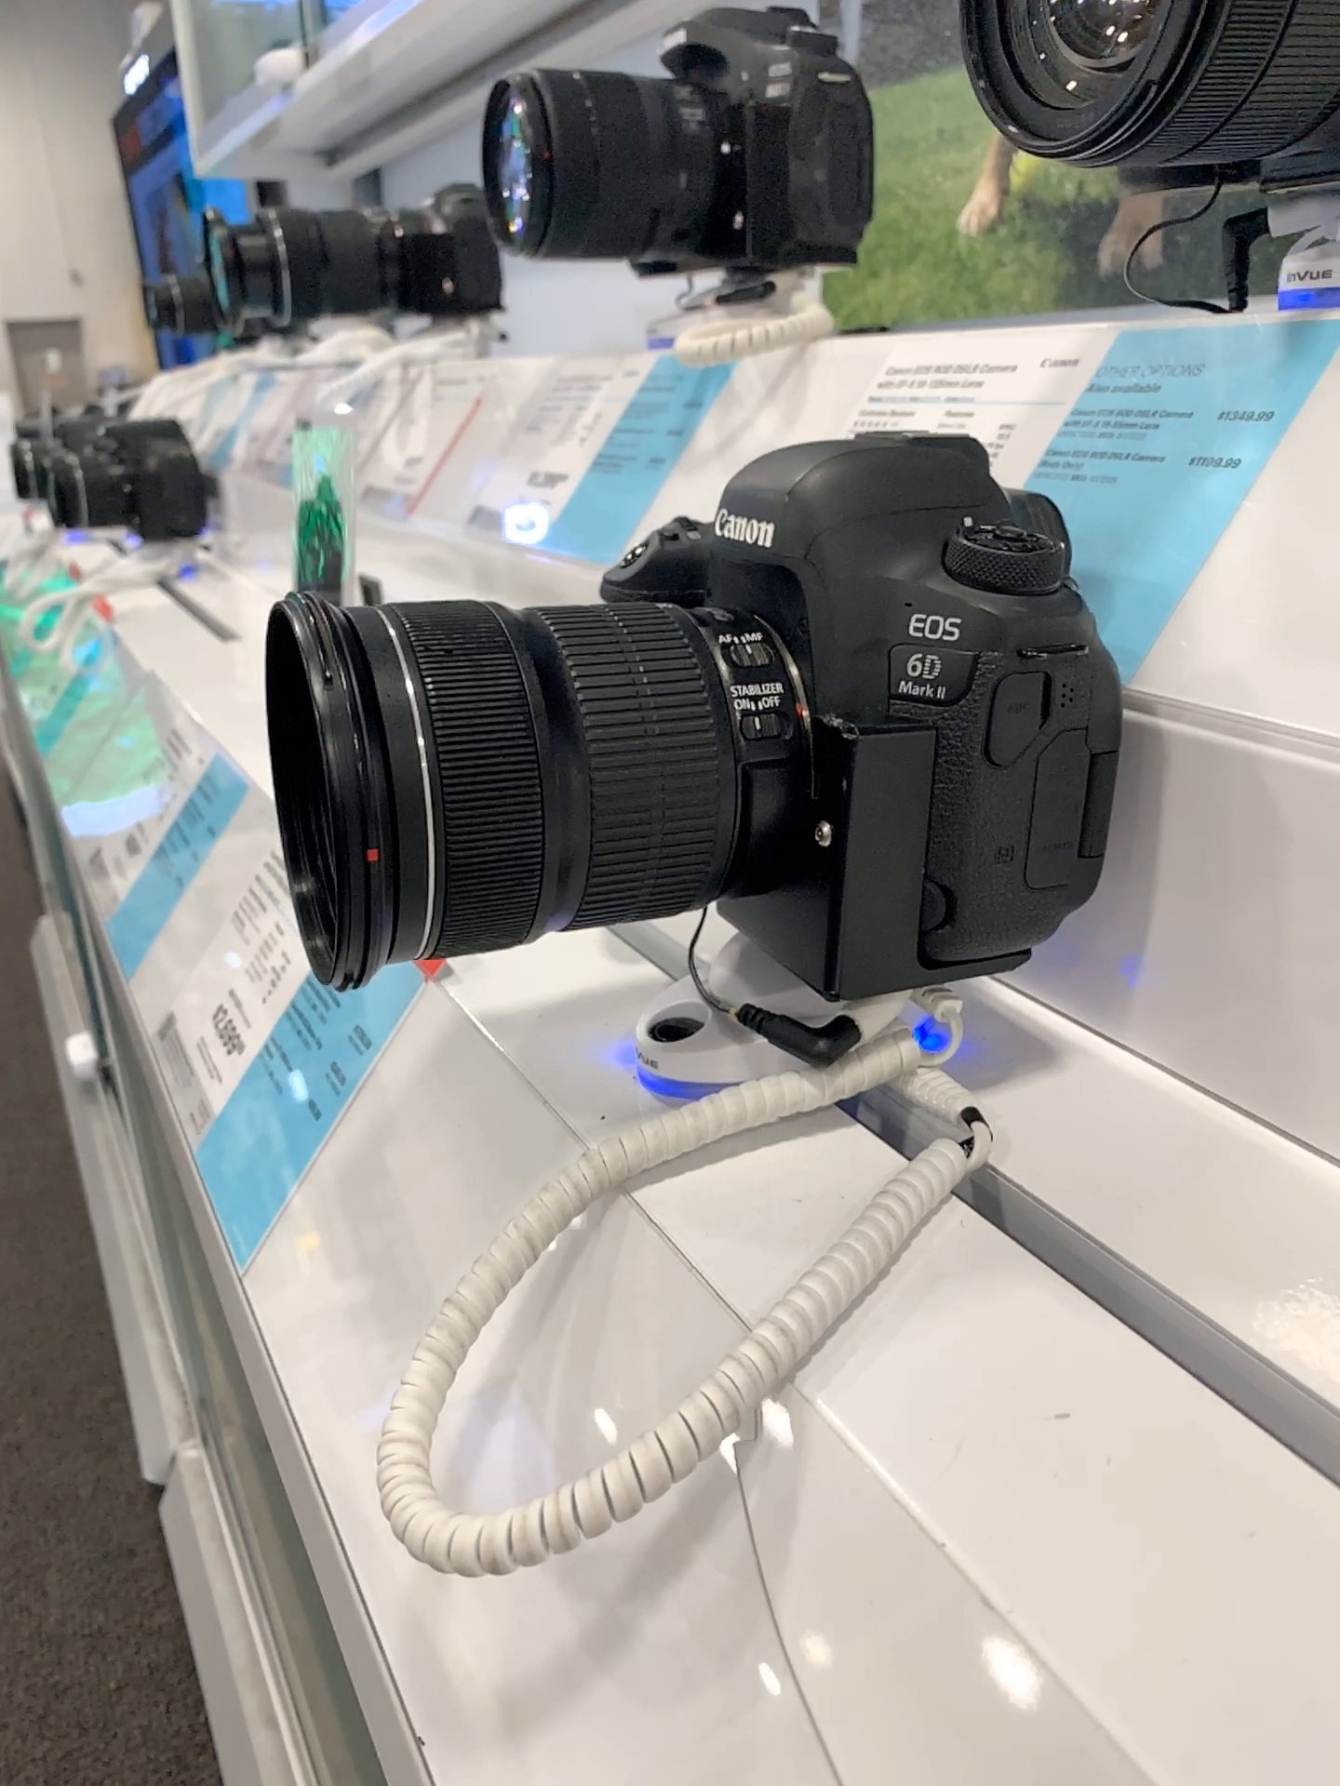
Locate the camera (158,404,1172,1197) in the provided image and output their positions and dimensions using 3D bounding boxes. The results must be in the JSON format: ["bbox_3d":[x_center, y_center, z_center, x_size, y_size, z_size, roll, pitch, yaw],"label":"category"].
[{"bbox_3d":[-0.006,-0.041,0.323,0.180,0.124,0.137,-13,22,-23],"label":"camera"}]
